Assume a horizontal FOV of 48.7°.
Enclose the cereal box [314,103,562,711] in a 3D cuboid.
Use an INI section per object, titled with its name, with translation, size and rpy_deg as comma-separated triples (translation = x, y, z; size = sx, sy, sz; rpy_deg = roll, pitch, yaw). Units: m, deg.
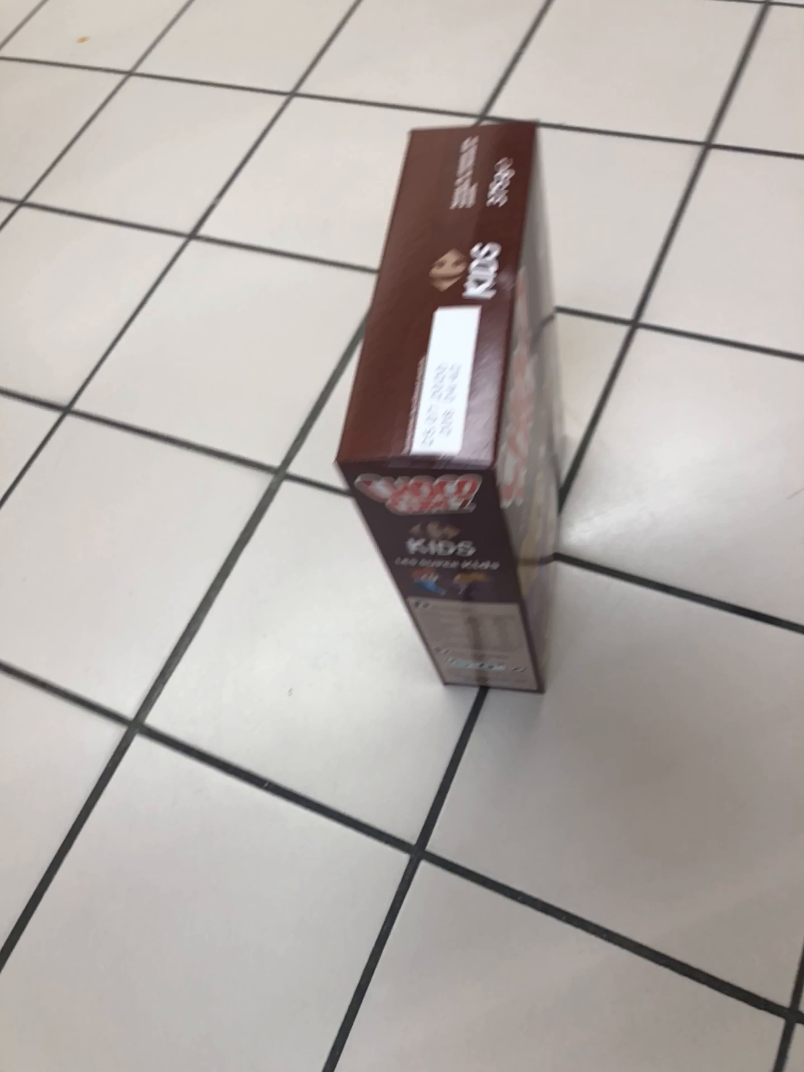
[cereal box]
translation = 0.040, -0.048, 0.475
size = 0.070, 0.259, 0.201
rpy_deg = 3, 61, 13
